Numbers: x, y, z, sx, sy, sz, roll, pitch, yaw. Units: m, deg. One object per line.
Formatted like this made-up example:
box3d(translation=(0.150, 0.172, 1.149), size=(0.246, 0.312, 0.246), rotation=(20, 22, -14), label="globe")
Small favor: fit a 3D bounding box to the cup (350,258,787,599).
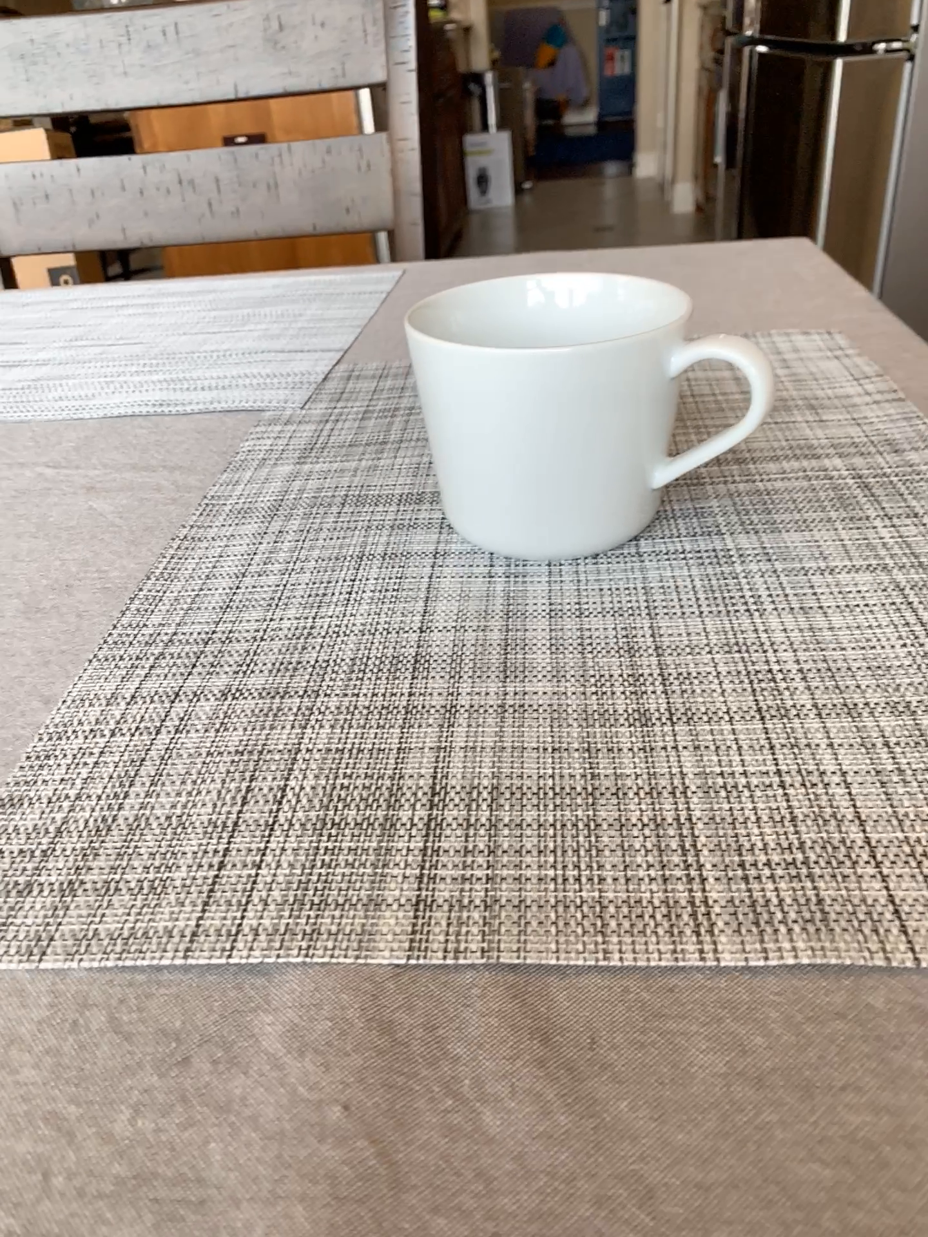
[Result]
box3d(translation=(0.042, -0.078, 0.355), size=(0.121, 0.081, 0.100), rotation=(13, 36, 27), label="cup")
